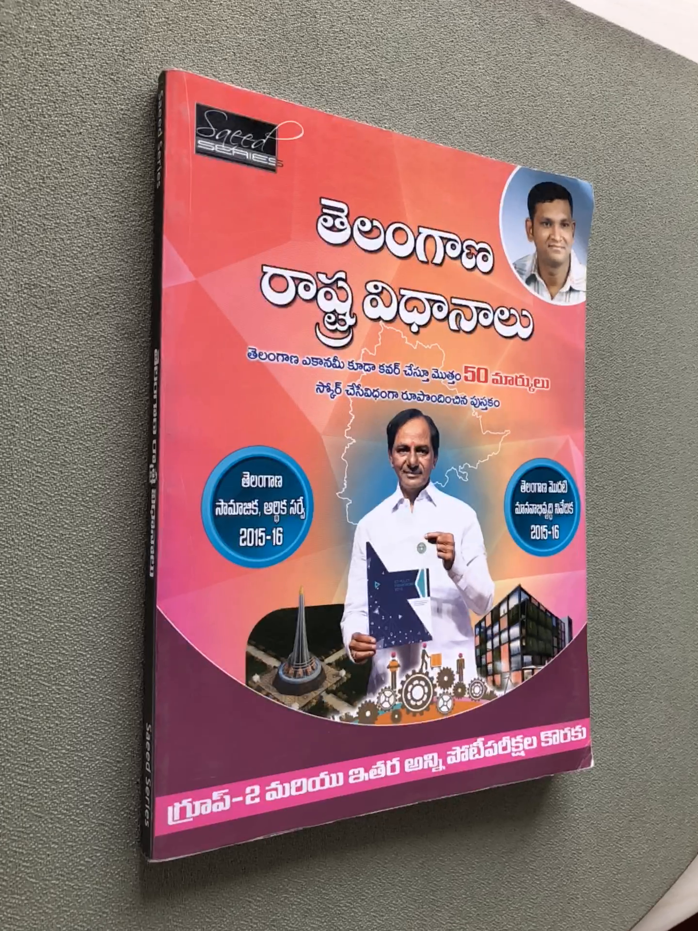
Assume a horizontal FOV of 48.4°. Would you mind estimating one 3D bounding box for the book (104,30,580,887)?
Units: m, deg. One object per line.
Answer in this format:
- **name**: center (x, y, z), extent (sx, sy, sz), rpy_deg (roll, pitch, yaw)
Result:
- **book**: center (0.009, -0.002, 0.285), extent (0.181, 0.030, 0.250), rpy_deg (2, 87, -31)
